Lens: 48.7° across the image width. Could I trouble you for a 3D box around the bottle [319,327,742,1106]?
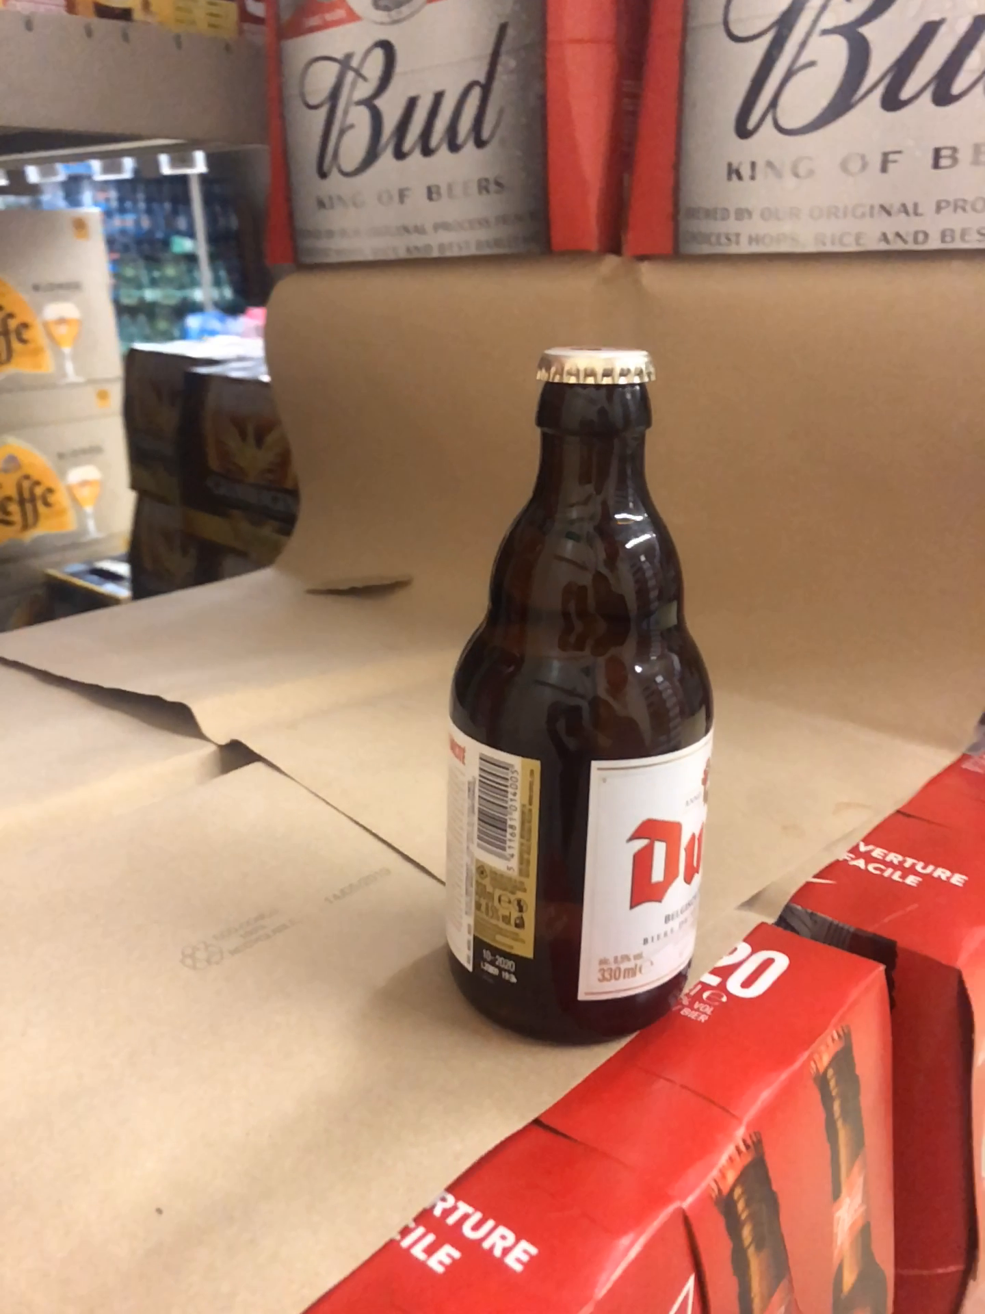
[{"bbox_3d":[0.014,0.009,0.275,0.070,0.169,0.080,8,23,23],"label":"bottle"}]
